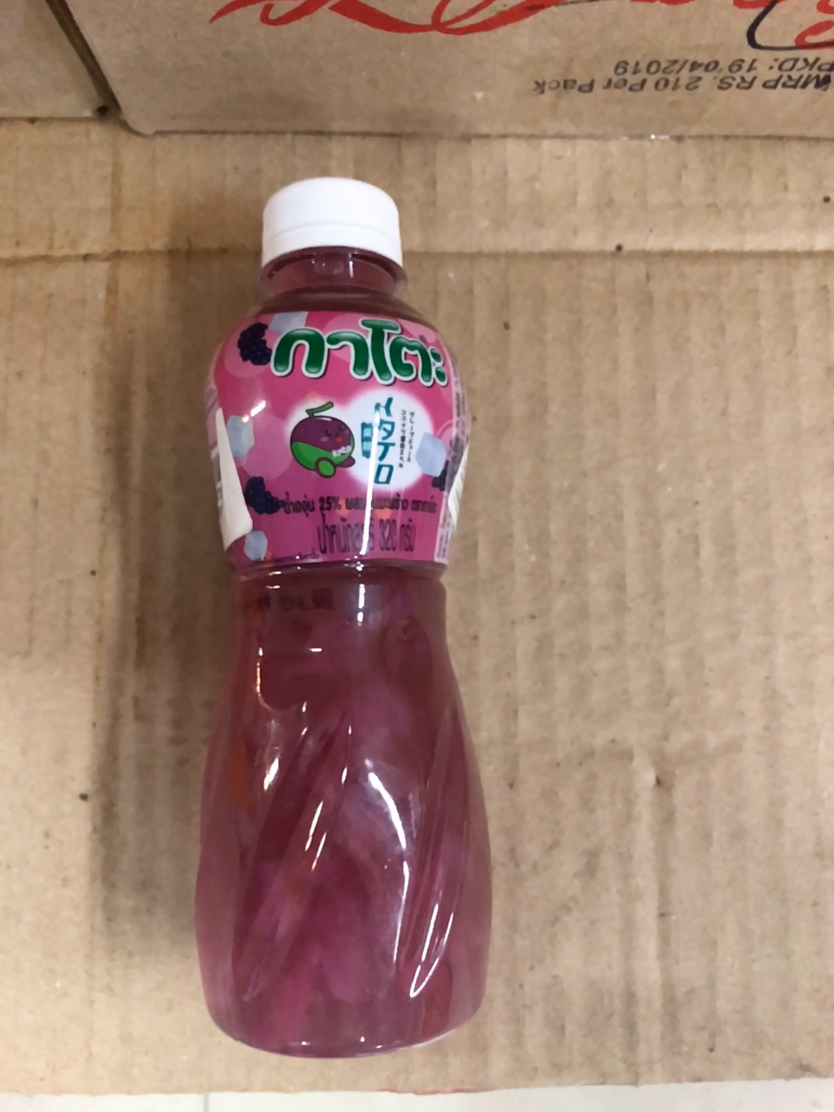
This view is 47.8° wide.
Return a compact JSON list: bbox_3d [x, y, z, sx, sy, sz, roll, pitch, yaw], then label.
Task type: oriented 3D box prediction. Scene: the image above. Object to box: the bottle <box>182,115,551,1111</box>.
[{"bbox_3d":[-0.013,0.008,0.187,0.060,0.050,0.170,-1,83,-9],"label":"bottle"}]
